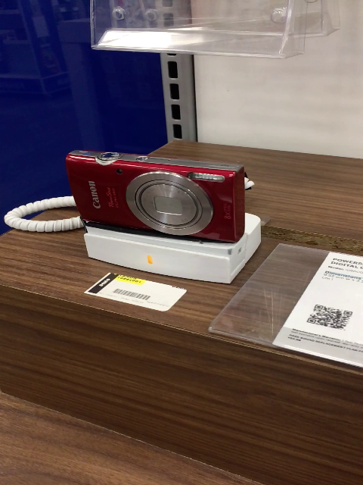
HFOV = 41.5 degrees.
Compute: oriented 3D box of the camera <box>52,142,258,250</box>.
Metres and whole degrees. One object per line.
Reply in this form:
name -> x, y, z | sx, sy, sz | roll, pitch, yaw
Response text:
camera -> -0.015, -0.028, 0.274 | 0.108, 0.045, 0.025 | 10, 38, 20
